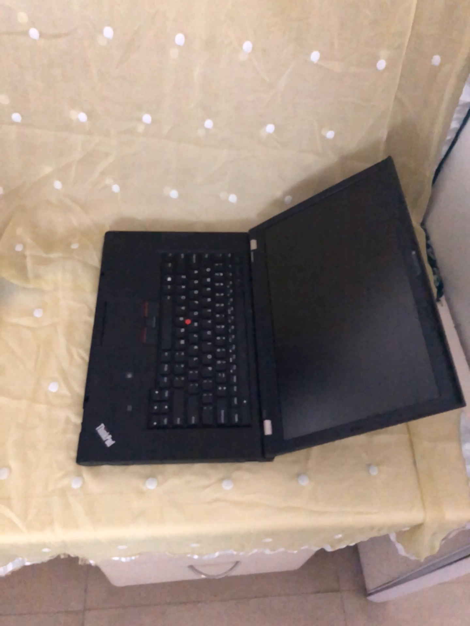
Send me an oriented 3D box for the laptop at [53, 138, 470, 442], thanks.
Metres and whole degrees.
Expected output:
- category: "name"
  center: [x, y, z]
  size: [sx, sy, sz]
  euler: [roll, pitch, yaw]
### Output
- category: "laptop"
  center: [0.018, -0.039, 0.675]
  size: [0.424, 0.156, 0.349]
  euler: [-2, 57, -1]
